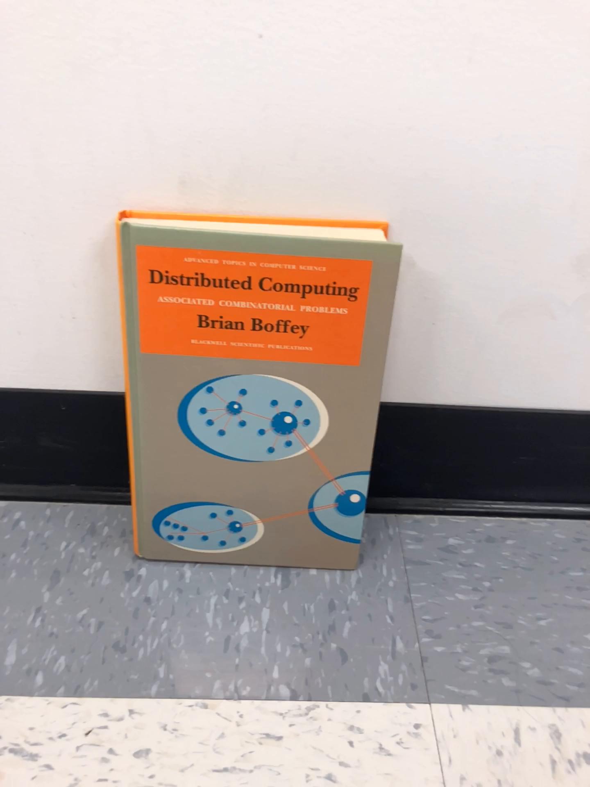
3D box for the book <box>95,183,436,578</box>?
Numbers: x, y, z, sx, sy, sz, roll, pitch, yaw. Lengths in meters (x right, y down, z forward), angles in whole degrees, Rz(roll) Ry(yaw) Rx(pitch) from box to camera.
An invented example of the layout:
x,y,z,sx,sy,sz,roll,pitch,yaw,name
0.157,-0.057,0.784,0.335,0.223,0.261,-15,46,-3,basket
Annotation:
x,y,z,sx,sy,sz,roll,pitch,yaw,name
-0.020,0.003,0.403,0.170,0.239,0.050,3,29,-1,book
